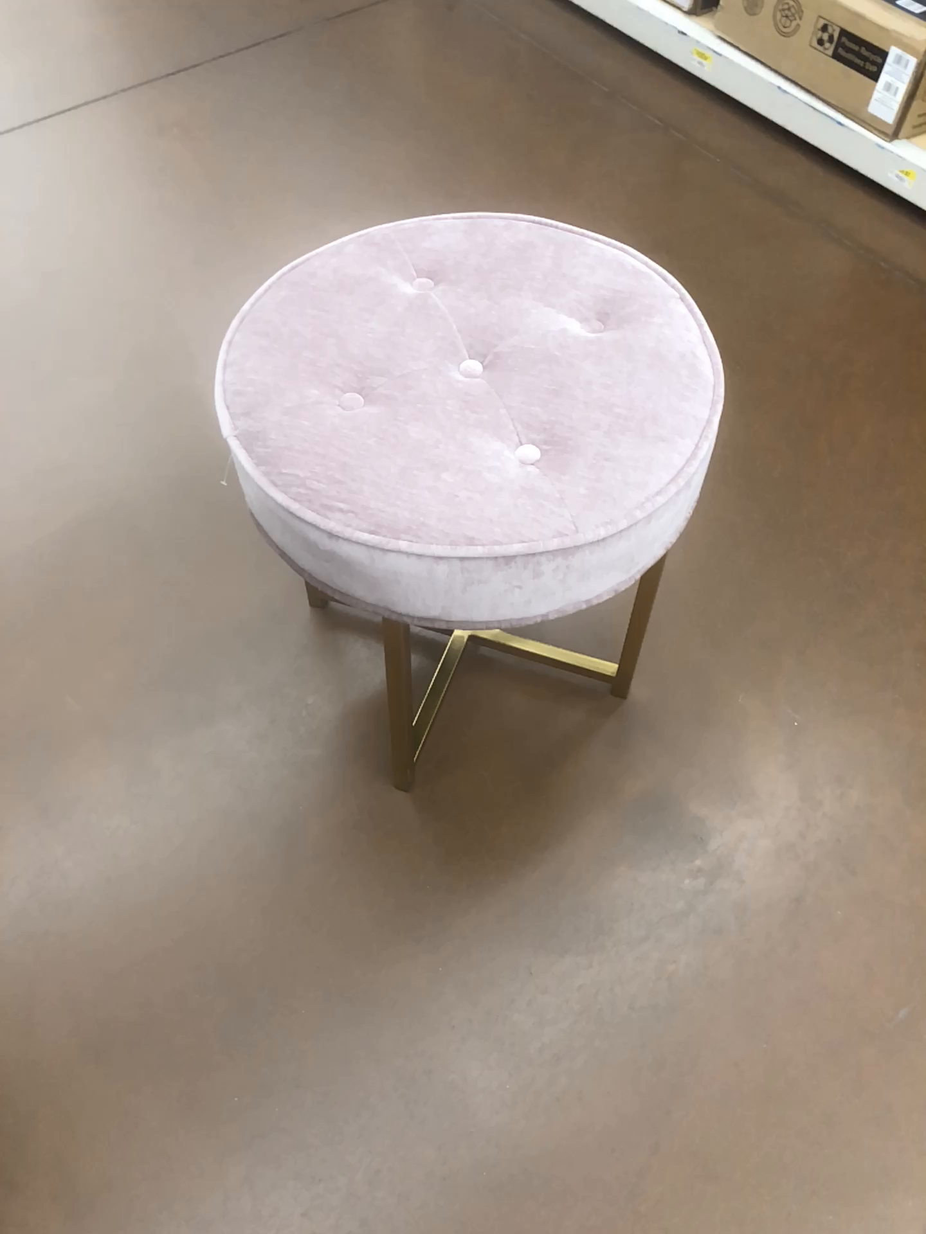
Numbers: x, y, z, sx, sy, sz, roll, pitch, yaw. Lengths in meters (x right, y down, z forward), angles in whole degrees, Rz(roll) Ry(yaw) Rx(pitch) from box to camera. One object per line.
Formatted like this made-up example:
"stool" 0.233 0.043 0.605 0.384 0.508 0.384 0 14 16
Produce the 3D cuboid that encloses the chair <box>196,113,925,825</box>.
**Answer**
"chair" 0.070 -0.158 1.032 0.470 0.389 0.451 -23 57 -15
